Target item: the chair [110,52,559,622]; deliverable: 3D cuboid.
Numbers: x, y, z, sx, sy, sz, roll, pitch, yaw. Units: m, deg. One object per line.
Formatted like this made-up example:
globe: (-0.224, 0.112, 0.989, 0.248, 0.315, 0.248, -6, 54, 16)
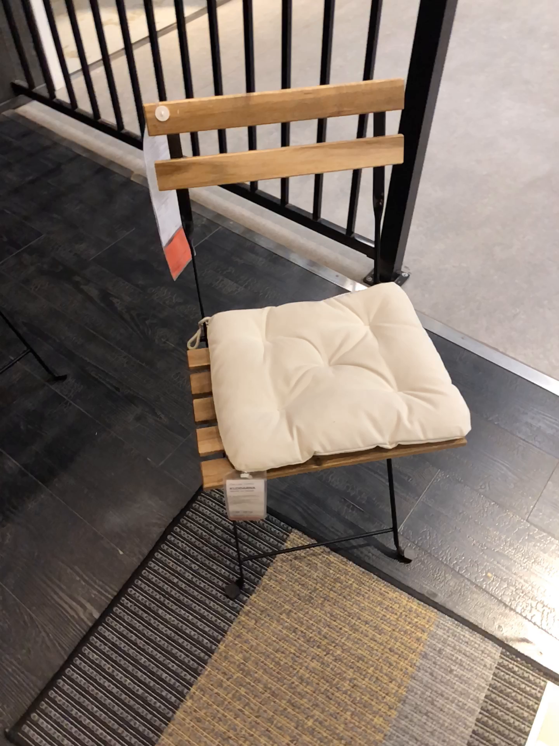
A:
chair: (0.044, -0.001, 0.985, 0.450, 0.758, 0.461, -9, 51, -7)
